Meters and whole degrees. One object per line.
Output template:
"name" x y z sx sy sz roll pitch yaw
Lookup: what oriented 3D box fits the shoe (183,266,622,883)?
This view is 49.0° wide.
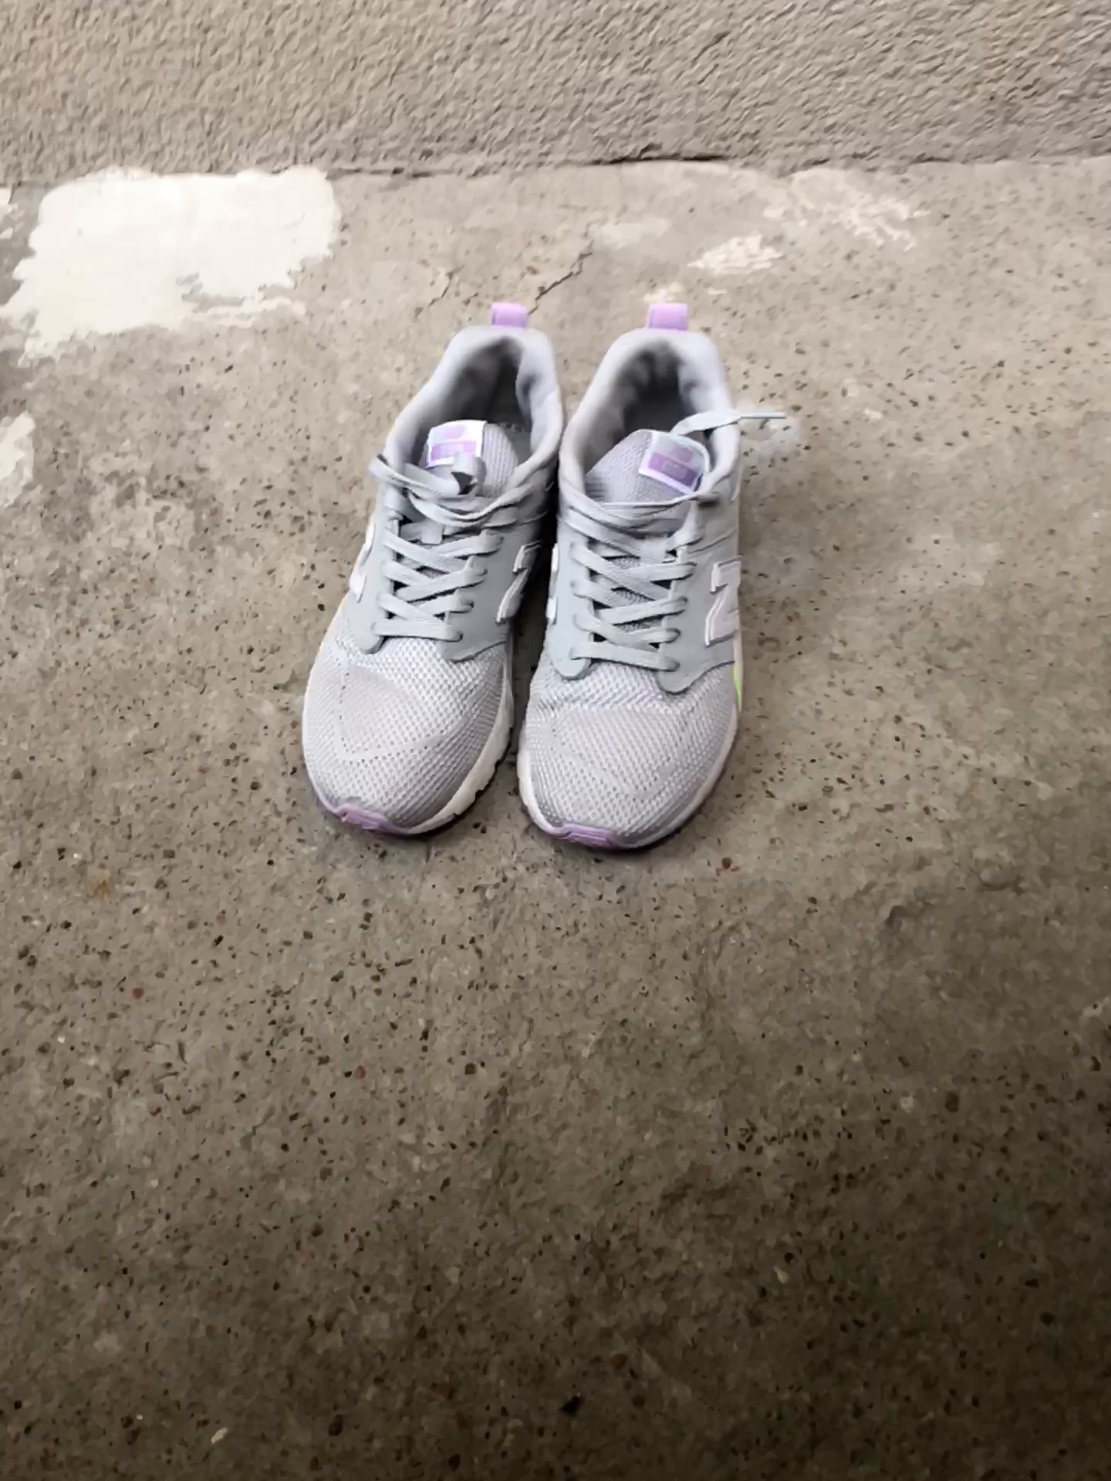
"shoe" -0.056 -0.086 0.582 0.110 0.099 0.271 13 63 11

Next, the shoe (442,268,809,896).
"shoe" 0.041 -0.081 0.567 0.110 0.099 0.271 9 62 8
